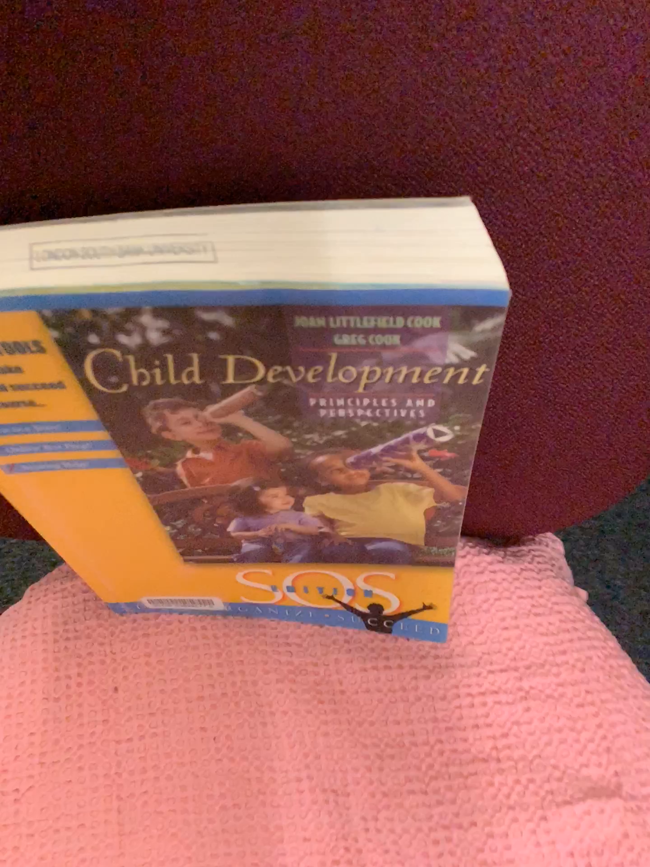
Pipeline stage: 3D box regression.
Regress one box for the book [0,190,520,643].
[{"bbox_3d":[-0.048,0.023,0.306,0.225,0.258,0.050,-1,52,5],"label":"book"}]
